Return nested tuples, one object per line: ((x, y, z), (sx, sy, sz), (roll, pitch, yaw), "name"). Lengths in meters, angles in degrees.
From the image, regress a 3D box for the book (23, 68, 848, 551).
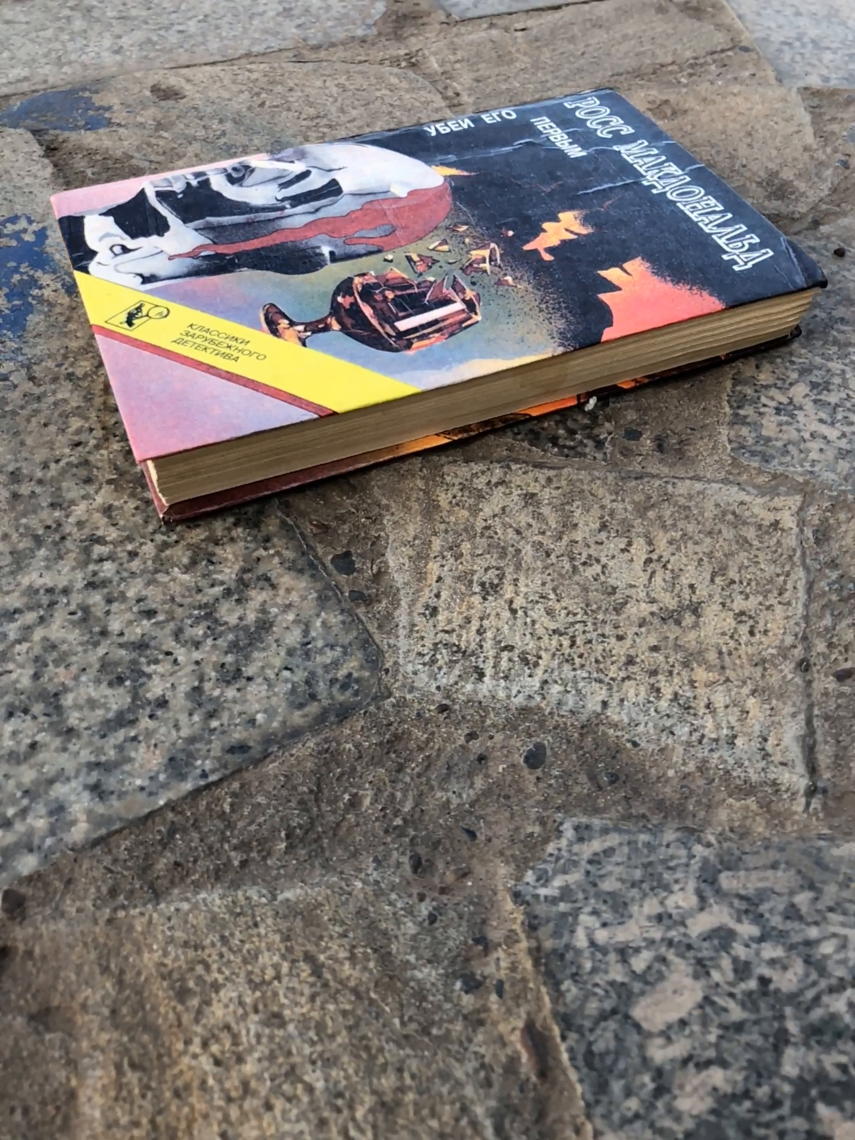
((-0.004, -0.096, 0.298), (0.210, 0.030, 0.140), (-18, 53, -15), "book")
